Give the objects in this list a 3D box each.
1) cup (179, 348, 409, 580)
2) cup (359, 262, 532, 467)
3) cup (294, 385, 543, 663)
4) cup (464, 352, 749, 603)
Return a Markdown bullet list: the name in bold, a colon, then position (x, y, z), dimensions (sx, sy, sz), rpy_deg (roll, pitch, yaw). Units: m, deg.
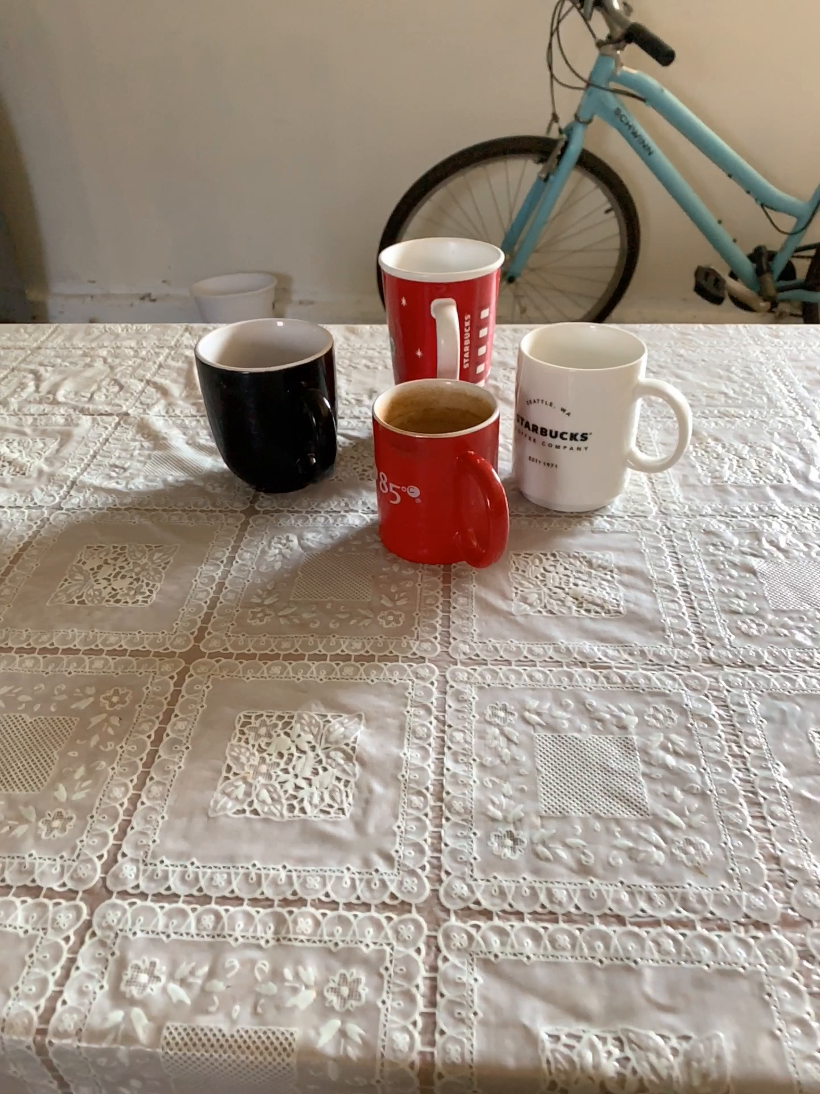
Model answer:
- **cup**: position (-0.085, -0.067, 0.612), dimensions (0.100, 0.090, 0.151), rpy_deg (-22, 40, -25)
- **cup**: position (0.021, -0.137, 0.613), dimensions (0.100, 0.090, 0.141), rpy_deg (-6, 36, -5)
- **cup**: position (0.002, -0.019, 0.486), dimensions (0.080, 0.090, 0.131), rpy_deg (-20, 39, -23)
- **cup**: position (0.121, -0.051, 0.547), dimensions (0.141, 0.090, 0.100), rpy_deg (26, 44, 34)
